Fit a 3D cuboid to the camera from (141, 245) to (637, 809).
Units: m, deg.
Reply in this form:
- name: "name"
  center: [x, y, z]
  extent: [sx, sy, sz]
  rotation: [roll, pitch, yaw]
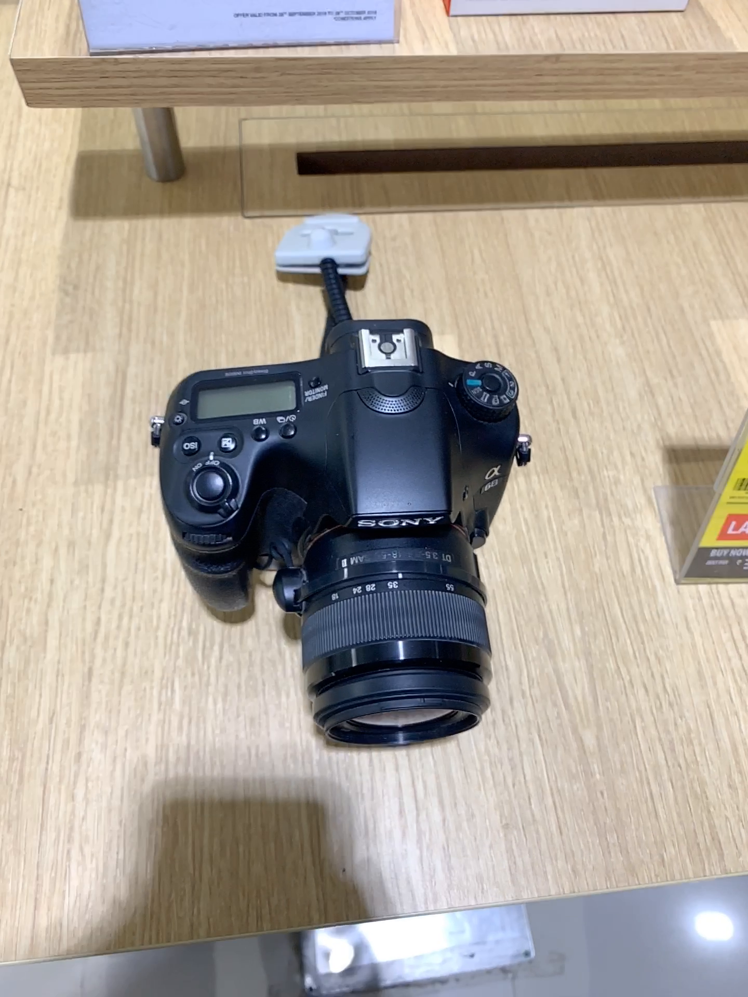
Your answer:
- name: "camera"
  center: [-0.005, 0.003, 0.275]
  extent: [0.130, 0.070, 0.180]
  rotation: [-4, 61, -5]
